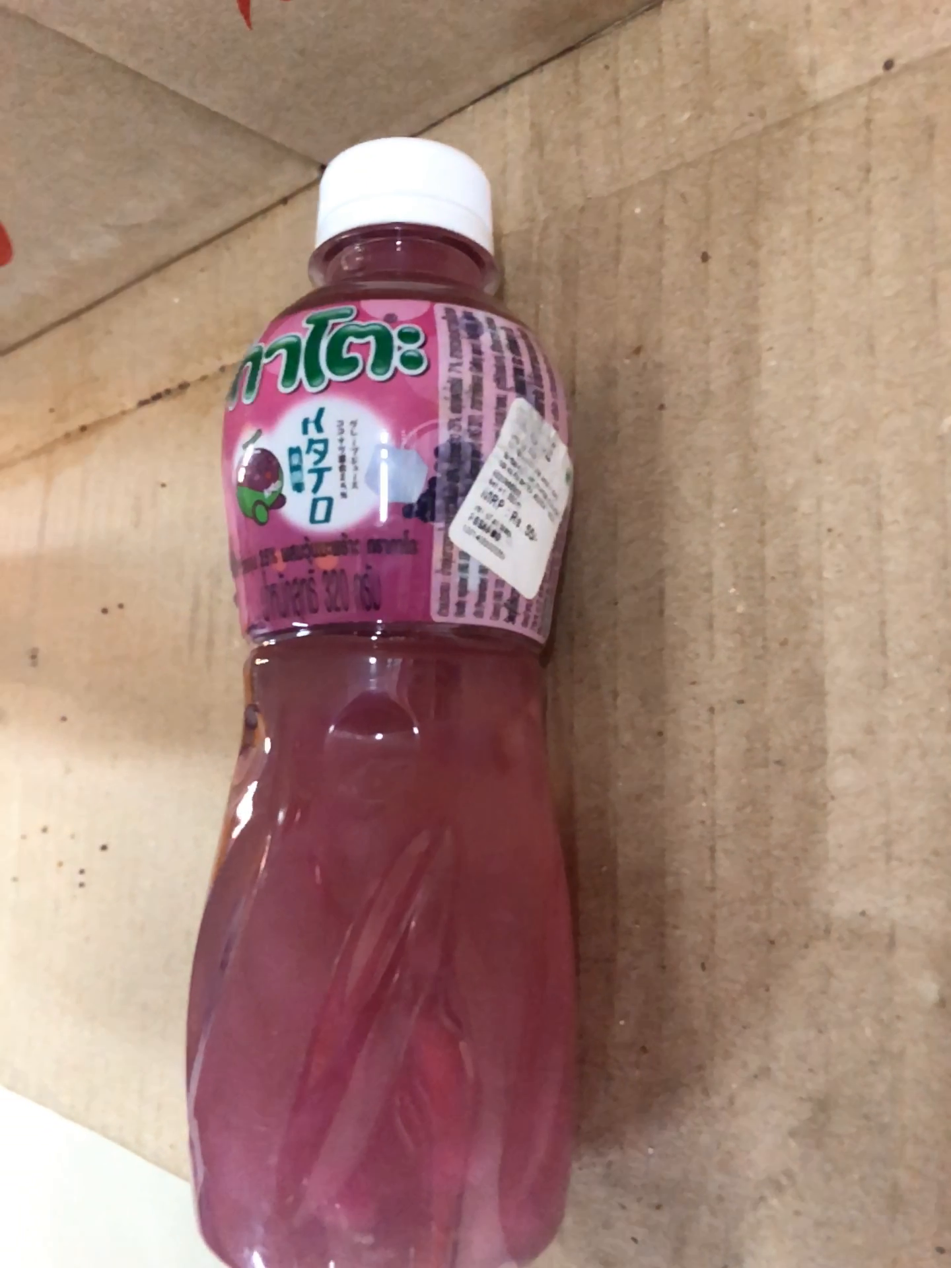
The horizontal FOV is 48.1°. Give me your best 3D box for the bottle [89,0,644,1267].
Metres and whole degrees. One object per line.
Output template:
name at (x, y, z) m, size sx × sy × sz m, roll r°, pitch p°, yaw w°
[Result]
bottle at (-0.014, 0.006, 0.163) m, size 0.060 × 0.050 × 0.170 m, roll -6°, pitch 79°, yaw 36°
